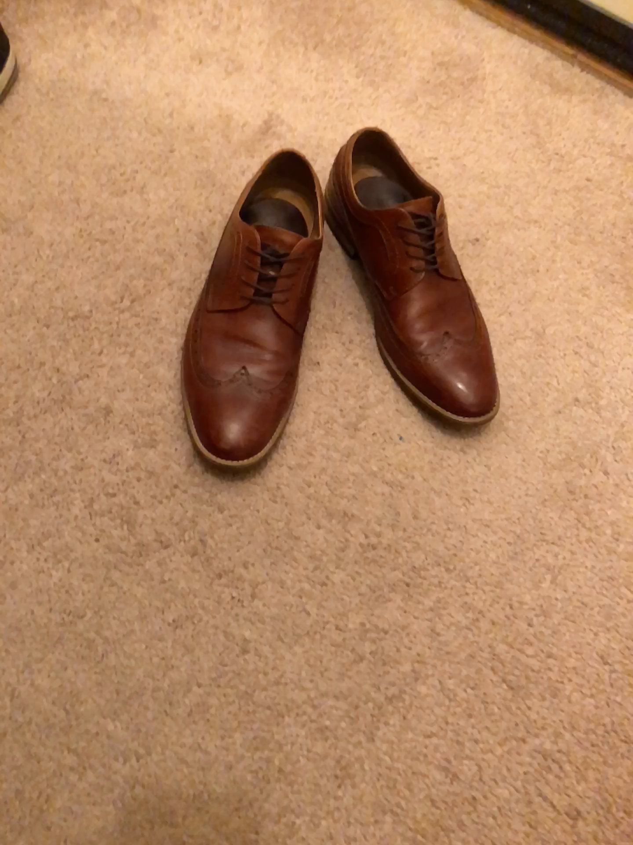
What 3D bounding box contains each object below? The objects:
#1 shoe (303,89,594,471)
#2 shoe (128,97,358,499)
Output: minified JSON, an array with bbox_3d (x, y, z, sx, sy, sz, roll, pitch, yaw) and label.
[{"bbox_3d":[0.098,-0.132,0.620,0.115,0.115,0.311,-15,68,-15],"label":"shoe"},{"bbox_3d":[-0.053,-0.110,0.593,0.115,0.115,0.311,12,64,-3],"label":"shoe"}]
